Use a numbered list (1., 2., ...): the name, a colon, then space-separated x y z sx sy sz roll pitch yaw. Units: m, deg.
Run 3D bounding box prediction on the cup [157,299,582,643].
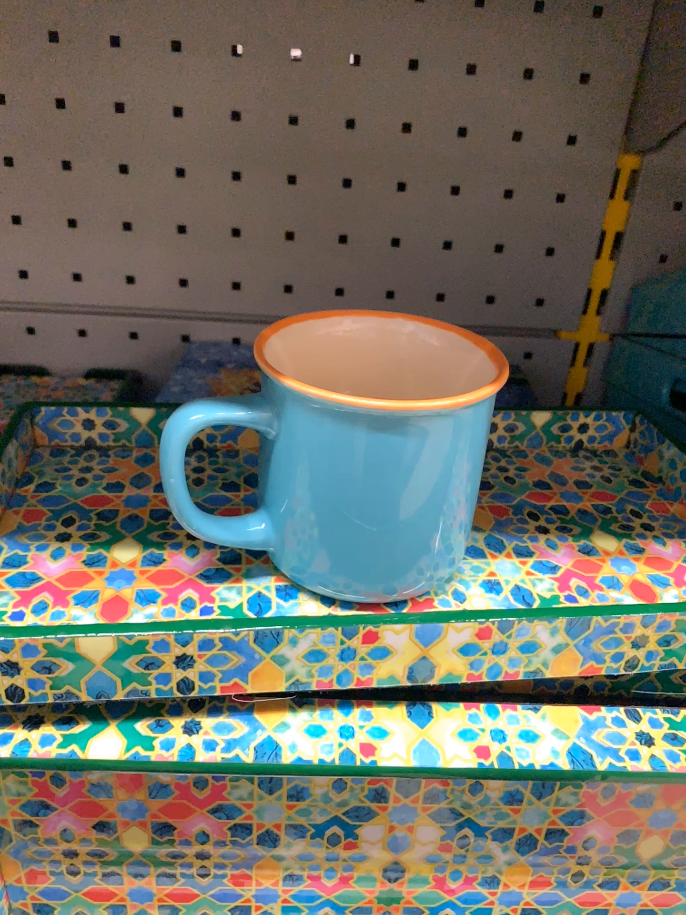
1. cup: -0.001 -0.004 0.255 0.120 0.080 0.090 -4 29 -15
